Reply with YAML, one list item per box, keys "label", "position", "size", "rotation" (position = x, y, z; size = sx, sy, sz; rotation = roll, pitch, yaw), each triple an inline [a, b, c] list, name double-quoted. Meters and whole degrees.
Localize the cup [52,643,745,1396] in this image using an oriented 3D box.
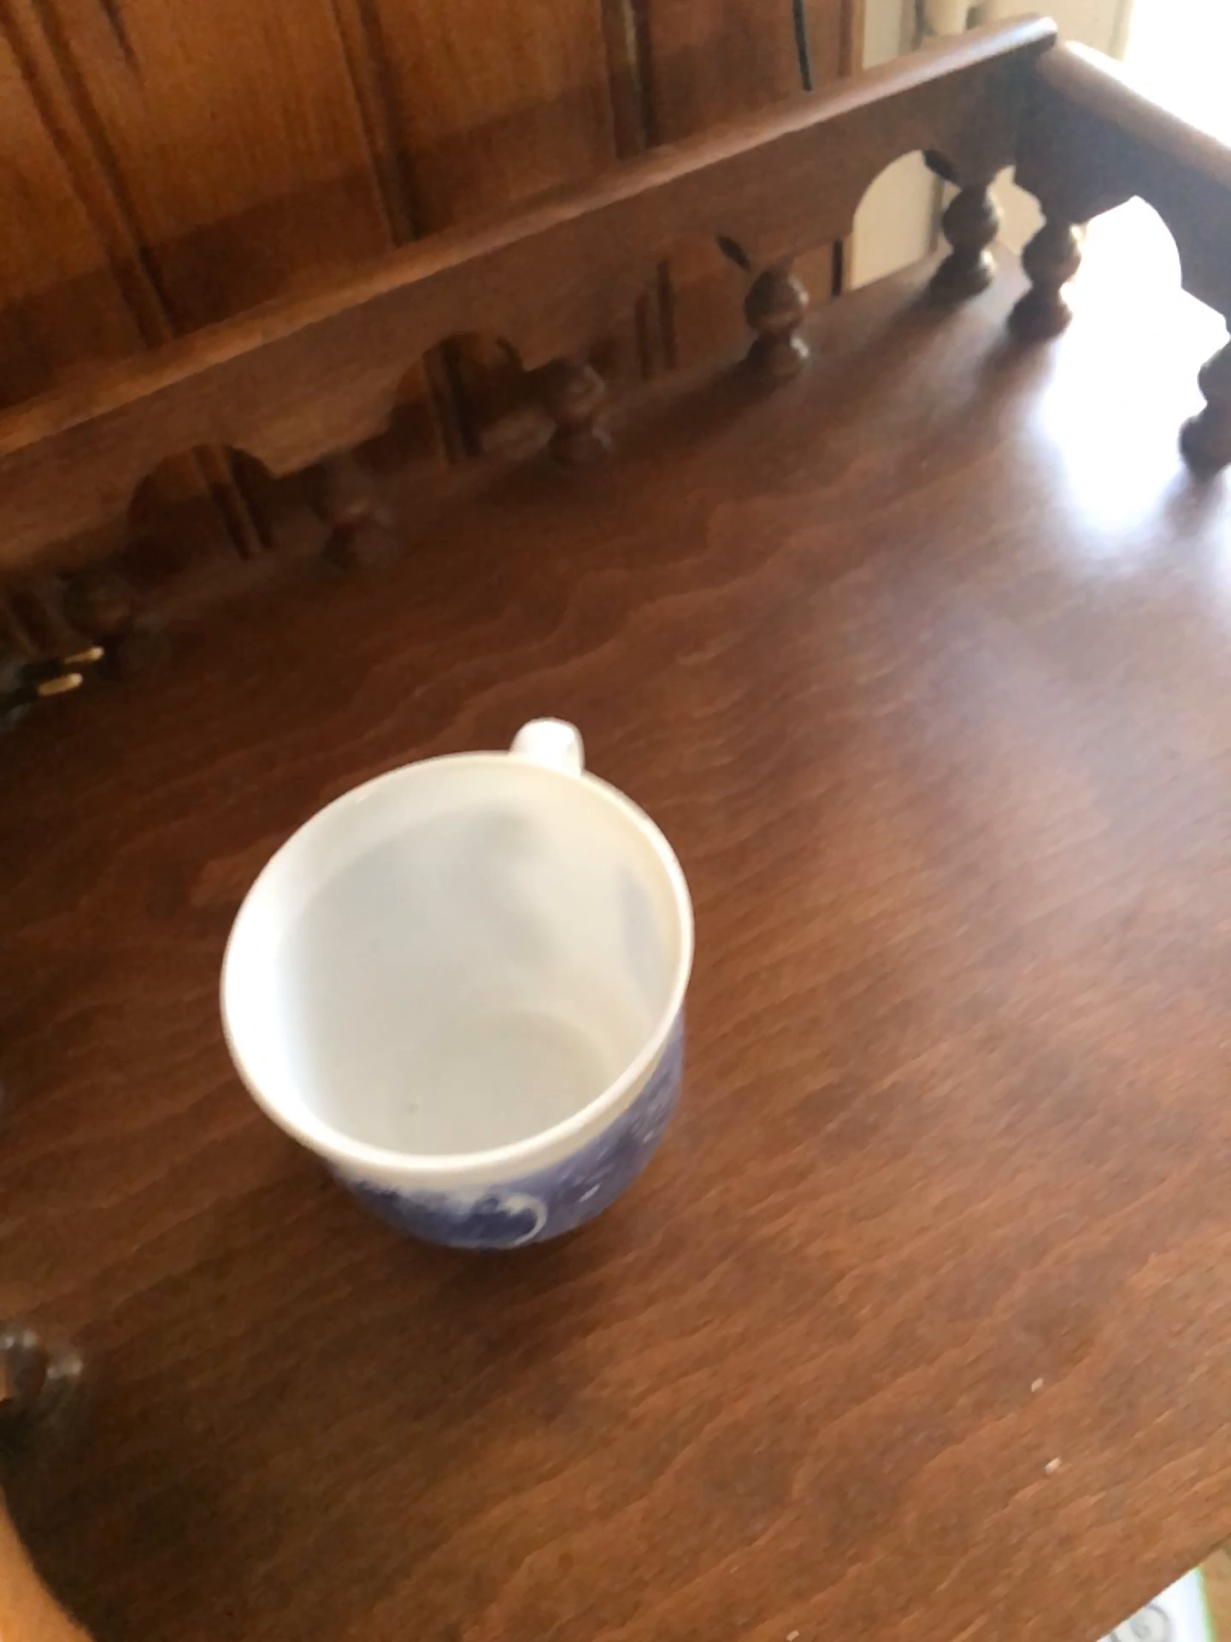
- label: "cup"
  position: [-0.025, 0.030, 0.232]
  size: [0.080, 0.060, 0.101]
  rotation: [6, 55, 11]
